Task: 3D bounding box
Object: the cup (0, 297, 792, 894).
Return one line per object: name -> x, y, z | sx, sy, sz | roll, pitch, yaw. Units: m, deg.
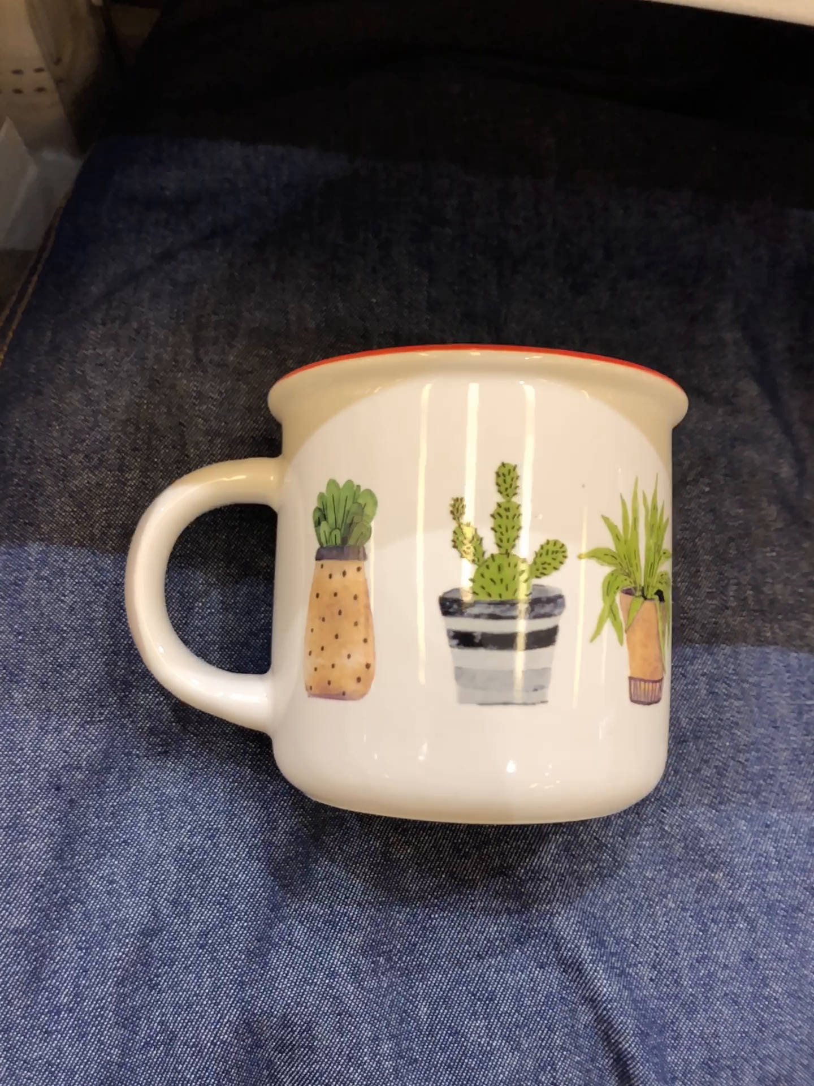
cup -> -0.007, 0.016, 0.204 | 0.140, 0.090, 0.100 | 2, 79, -6
